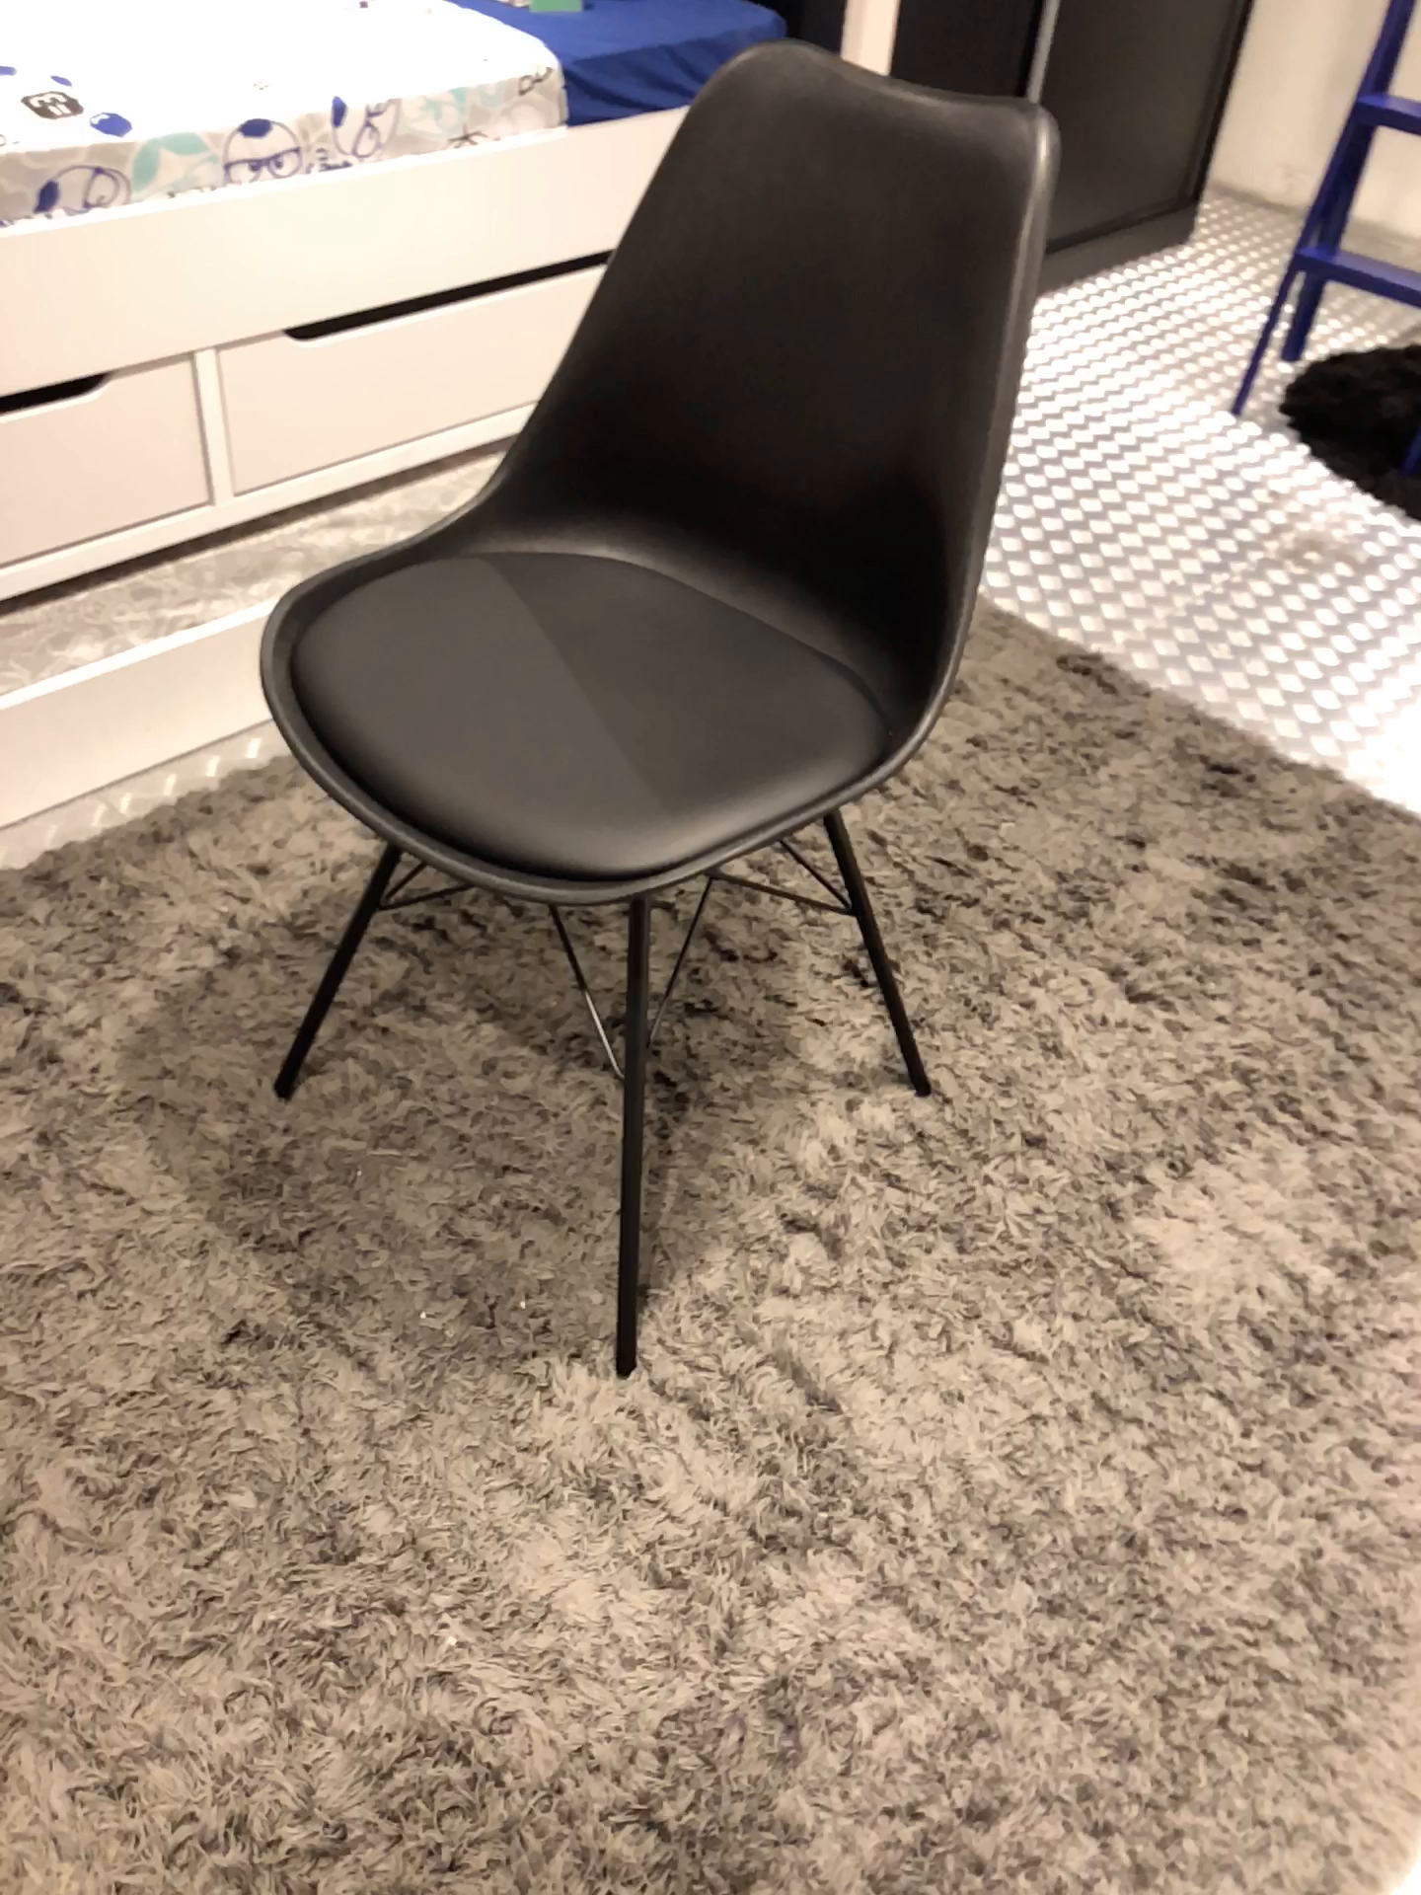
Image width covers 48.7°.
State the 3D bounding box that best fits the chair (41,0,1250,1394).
[{"bbox_3d":[-0.061,-0.209,1.221,0.522,0.803,0.533,34,47,29],"label":"chair"}]
